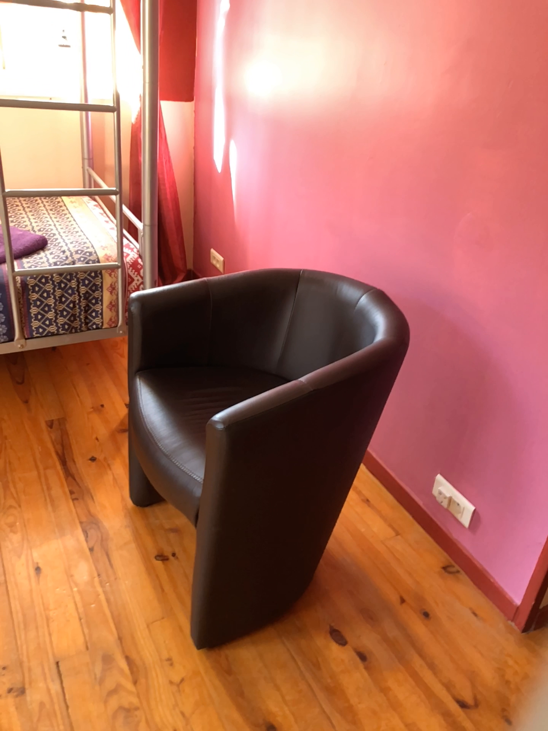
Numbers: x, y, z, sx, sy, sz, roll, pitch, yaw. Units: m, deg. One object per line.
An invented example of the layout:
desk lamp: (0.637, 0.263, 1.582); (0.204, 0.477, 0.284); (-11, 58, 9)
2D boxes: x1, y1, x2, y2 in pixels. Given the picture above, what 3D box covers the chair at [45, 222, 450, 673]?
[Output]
chair: (-0.119, 0.103, 1.388); (0.592, 0.646, 0.671); (-12, 34, -28)
